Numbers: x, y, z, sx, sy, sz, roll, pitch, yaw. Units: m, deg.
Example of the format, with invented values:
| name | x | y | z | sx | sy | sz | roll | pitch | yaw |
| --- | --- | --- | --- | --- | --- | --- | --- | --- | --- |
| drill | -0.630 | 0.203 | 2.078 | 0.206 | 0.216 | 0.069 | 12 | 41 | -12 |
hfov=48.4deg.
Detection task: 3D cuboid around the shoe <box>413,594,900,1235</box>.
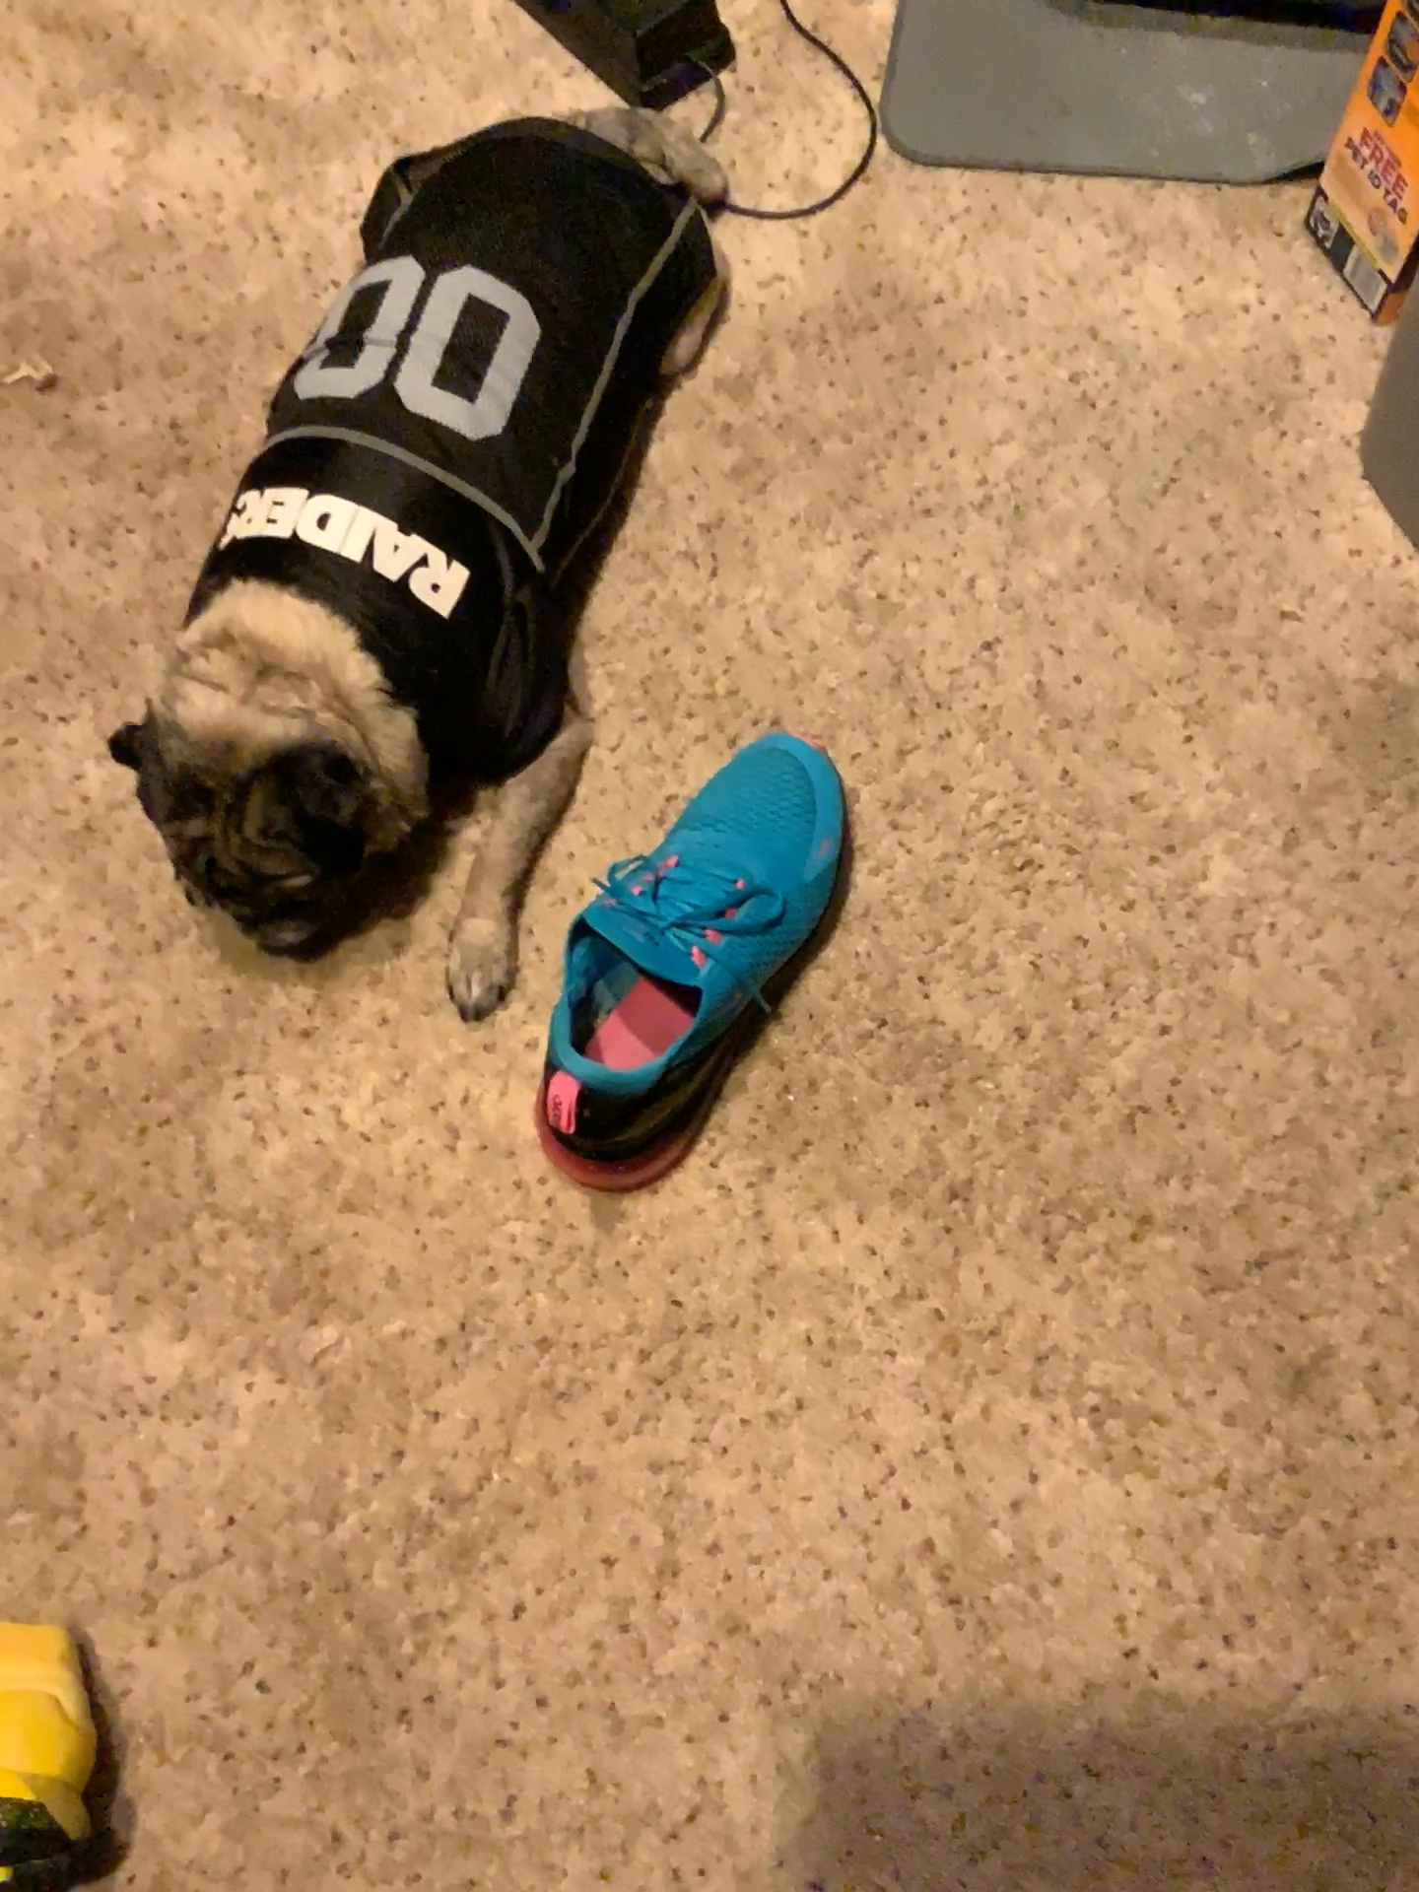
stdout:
| name | x | y | z | sx | sy | sz | roll | pitch | yaw |
| --- | --- | --- | --- | --- | --- | --- | --- | --- | --- |
| shoe | -0.019 | -0.017 | 0.956 | 0.130 | 0.140 | 0.340 | 25 | 75 | 14 |
